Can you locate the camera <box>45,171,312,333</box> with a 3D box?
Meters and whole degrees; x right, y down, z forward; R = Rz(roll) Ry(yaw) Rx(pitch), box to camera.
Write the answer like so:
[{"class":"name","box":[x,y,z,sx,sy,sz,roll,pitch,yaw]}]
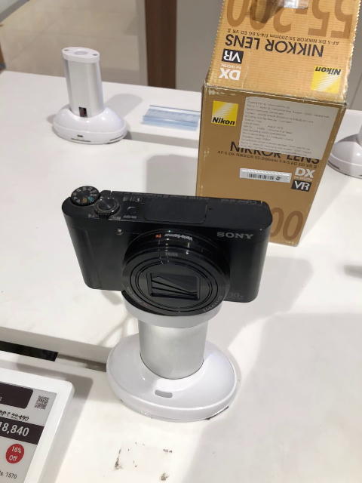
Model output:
[{"class":"camera","box":[-0.001,0.007,0.200,0.110,0.070,0.030,6,47,4]}]
